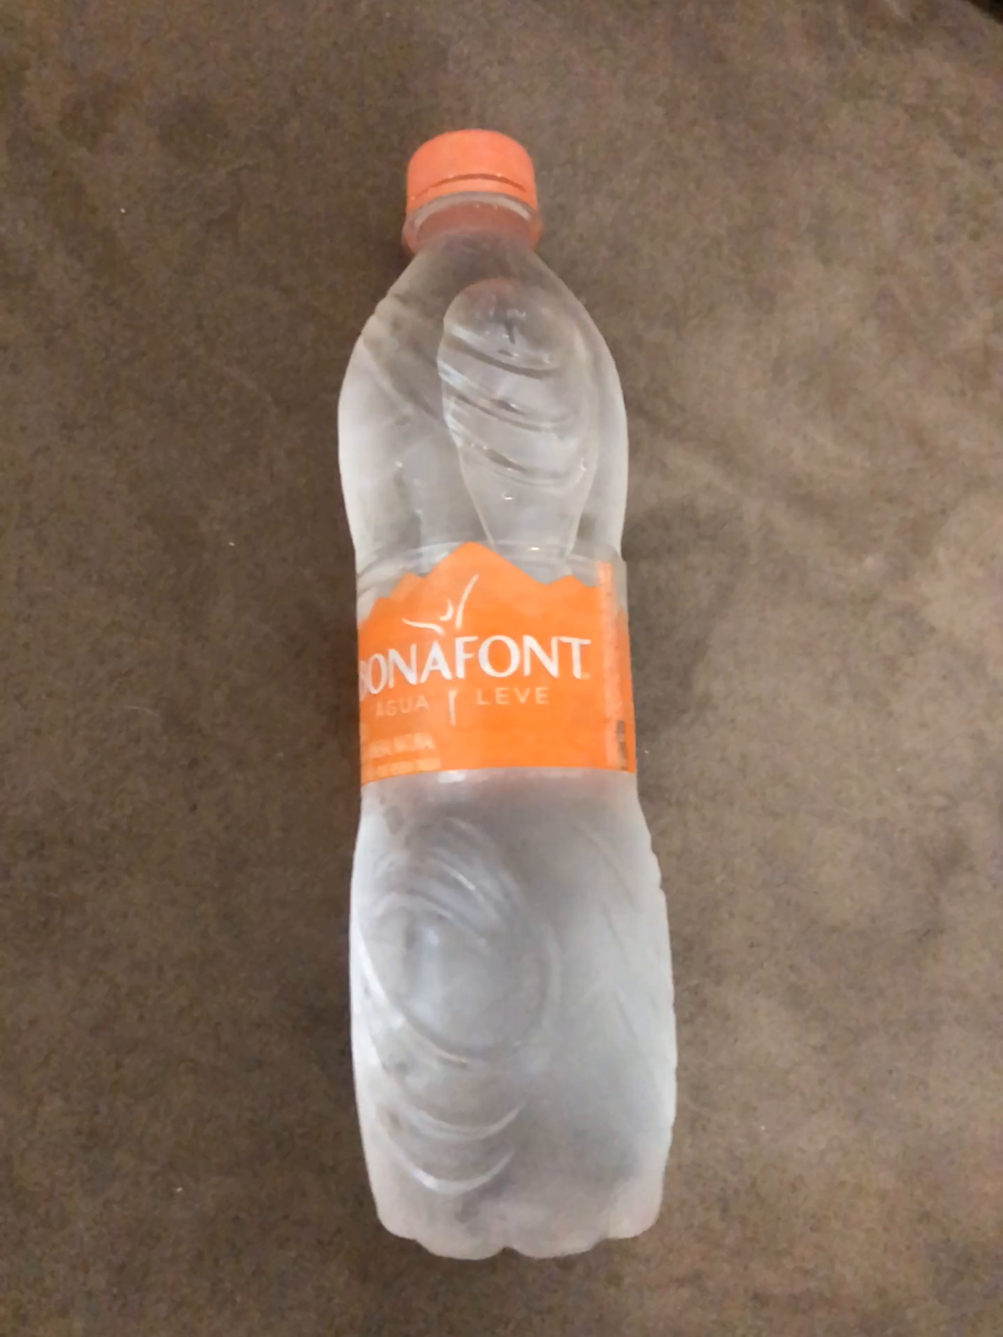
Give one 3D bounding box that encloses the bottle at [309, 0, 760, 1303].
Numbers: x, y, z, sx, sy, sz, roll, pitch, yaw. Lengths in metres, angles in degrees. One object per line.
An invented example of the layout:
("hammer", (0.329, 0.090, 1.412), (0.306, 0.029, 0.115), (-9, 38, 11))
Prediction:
("bottle", (0.000, -0.011, 0.236), (0.070, 0.050, 0.240), (1, 79, -20))
